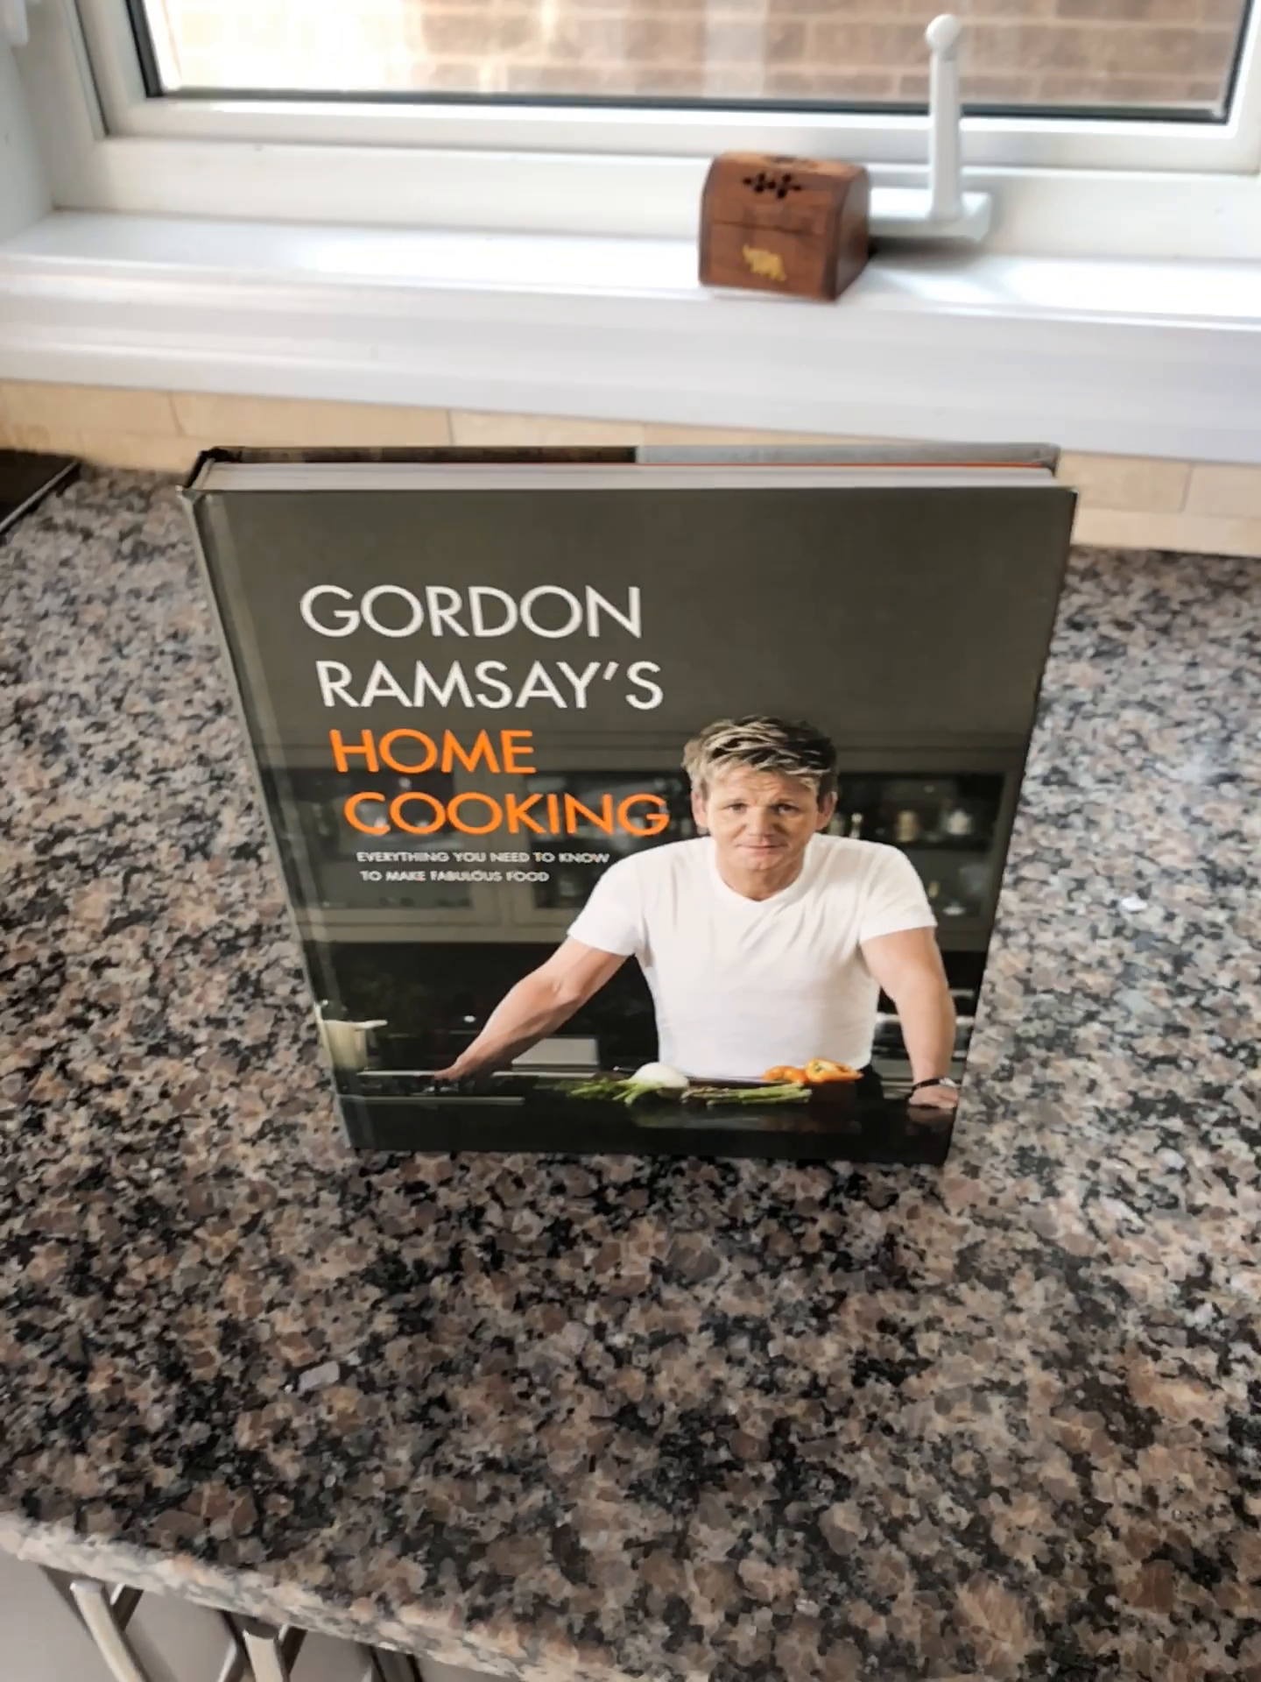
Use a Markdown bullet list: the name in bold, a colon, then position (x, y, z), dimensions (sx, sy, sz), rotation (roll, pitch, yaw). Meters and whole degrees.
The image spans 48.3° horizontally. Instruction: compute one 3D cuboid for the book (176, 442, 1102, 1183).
- **book**: position (0.004, 0.010, 0.423), dimensions (0.217, 0.260, 0.028), rotation (1, 40, 3)
